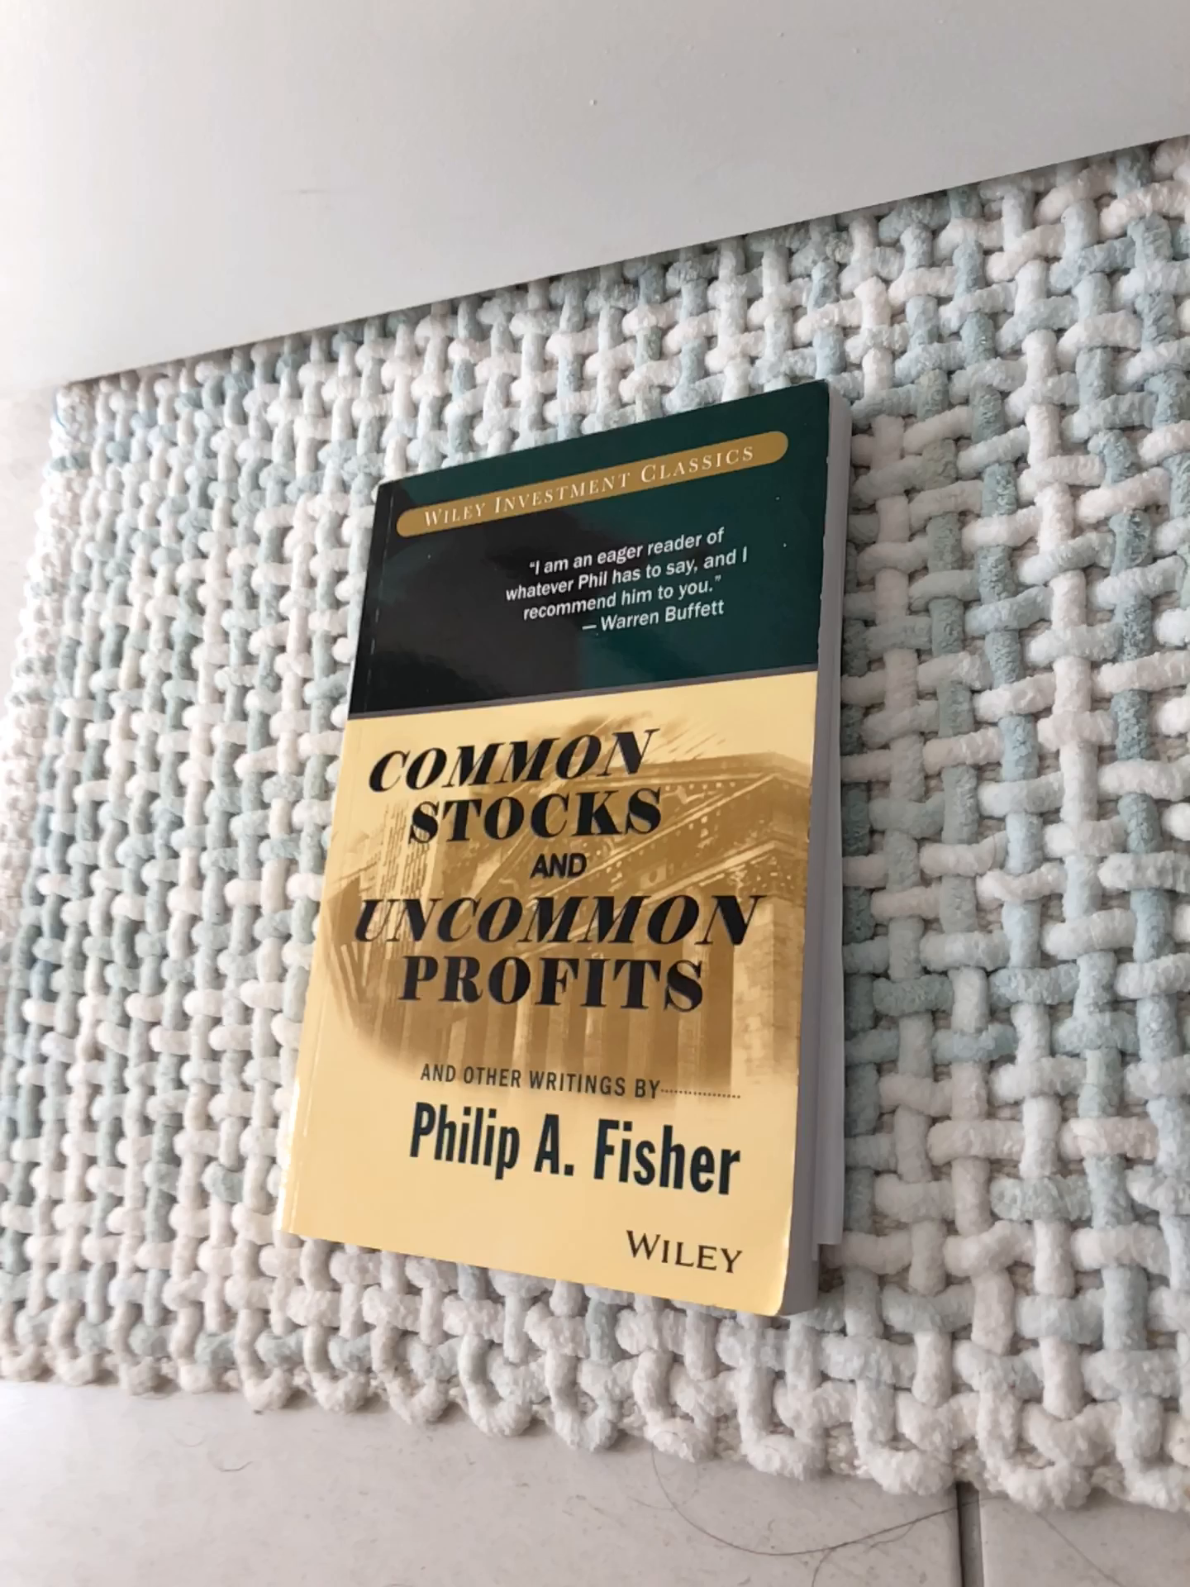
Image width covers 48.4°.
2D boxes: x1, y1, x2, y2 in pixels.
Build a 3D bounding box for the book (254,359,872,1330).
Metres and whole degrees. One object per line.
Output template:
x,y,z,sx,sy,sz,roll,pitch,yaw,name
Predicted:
-0.010,0.009,0.382,0.167,0.026,0.247,-3,73,31,book
